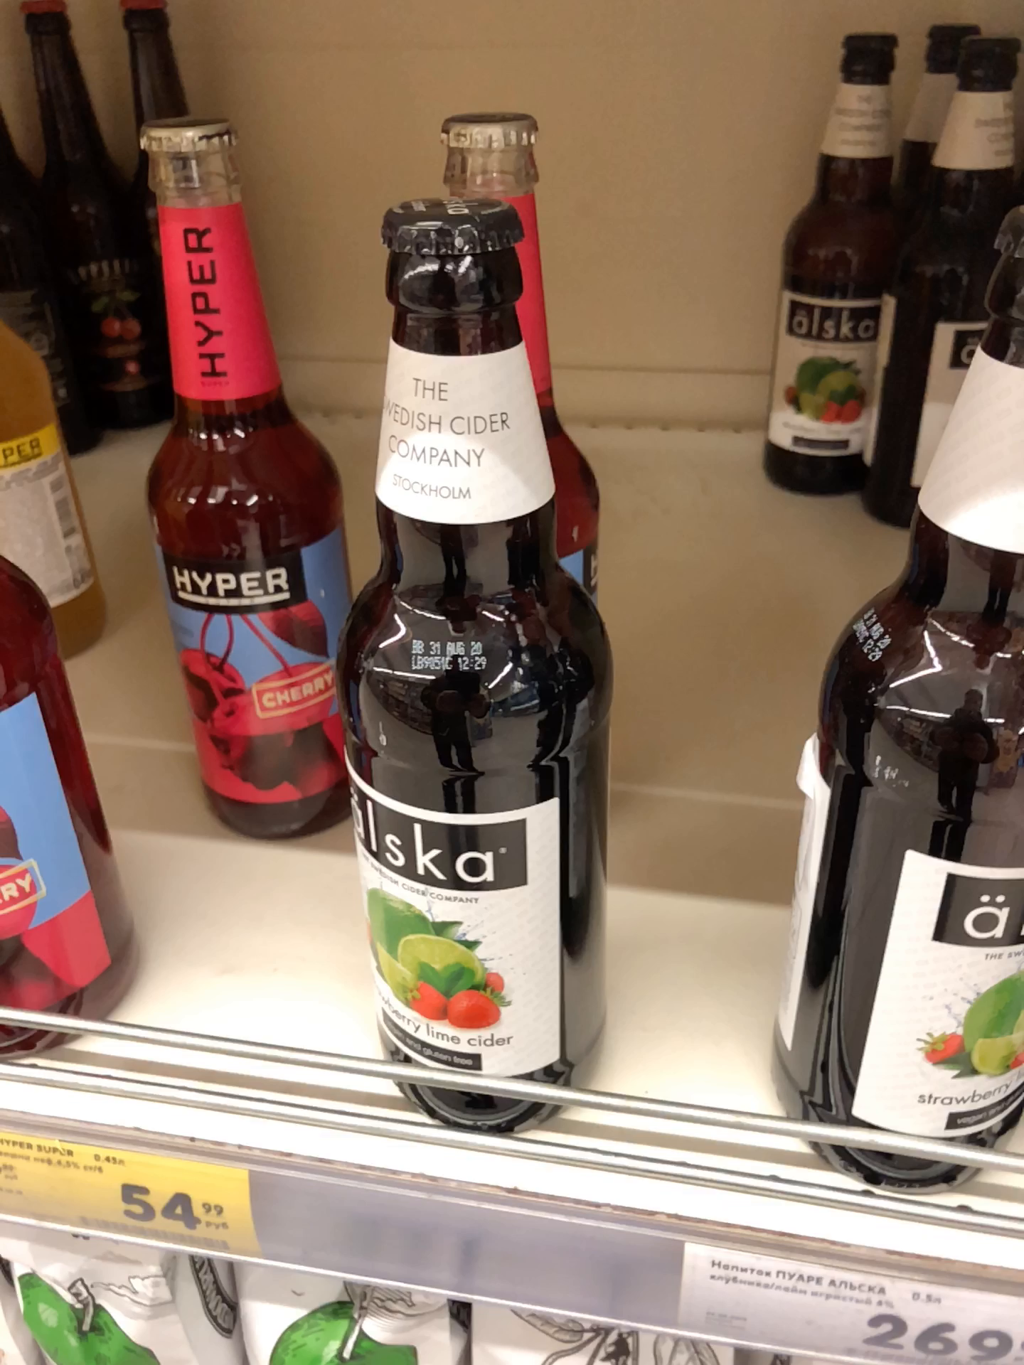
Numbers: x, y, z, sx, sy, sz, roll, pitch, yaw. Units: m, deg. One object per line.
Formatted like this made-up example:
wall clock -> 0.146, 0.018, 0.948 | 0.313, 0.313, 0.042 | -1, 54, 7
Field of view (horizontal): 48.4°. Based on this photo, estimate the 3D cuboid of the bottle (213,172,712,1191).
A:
bottle -> -0.003, 0.009, 0.283 | 0.070, 0.239, 0.070 | -2, 32, 1
